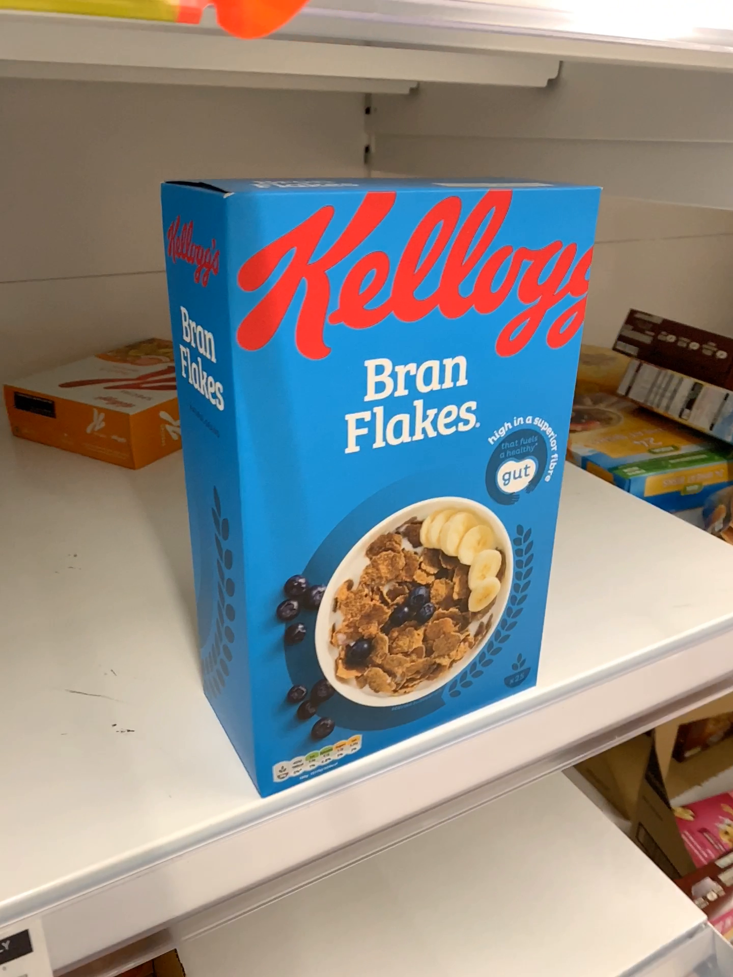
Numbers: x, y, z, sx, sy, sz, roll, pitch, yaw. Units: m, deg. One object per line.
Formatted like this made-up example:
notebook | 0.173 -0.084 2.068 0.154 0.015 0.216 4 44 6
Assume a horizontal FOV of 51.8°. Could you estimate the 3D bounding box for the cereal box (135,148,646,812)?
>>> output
cereal box | 0.012 -0.013 0.396 0.211 0.297 0.091 -13 28 -27
